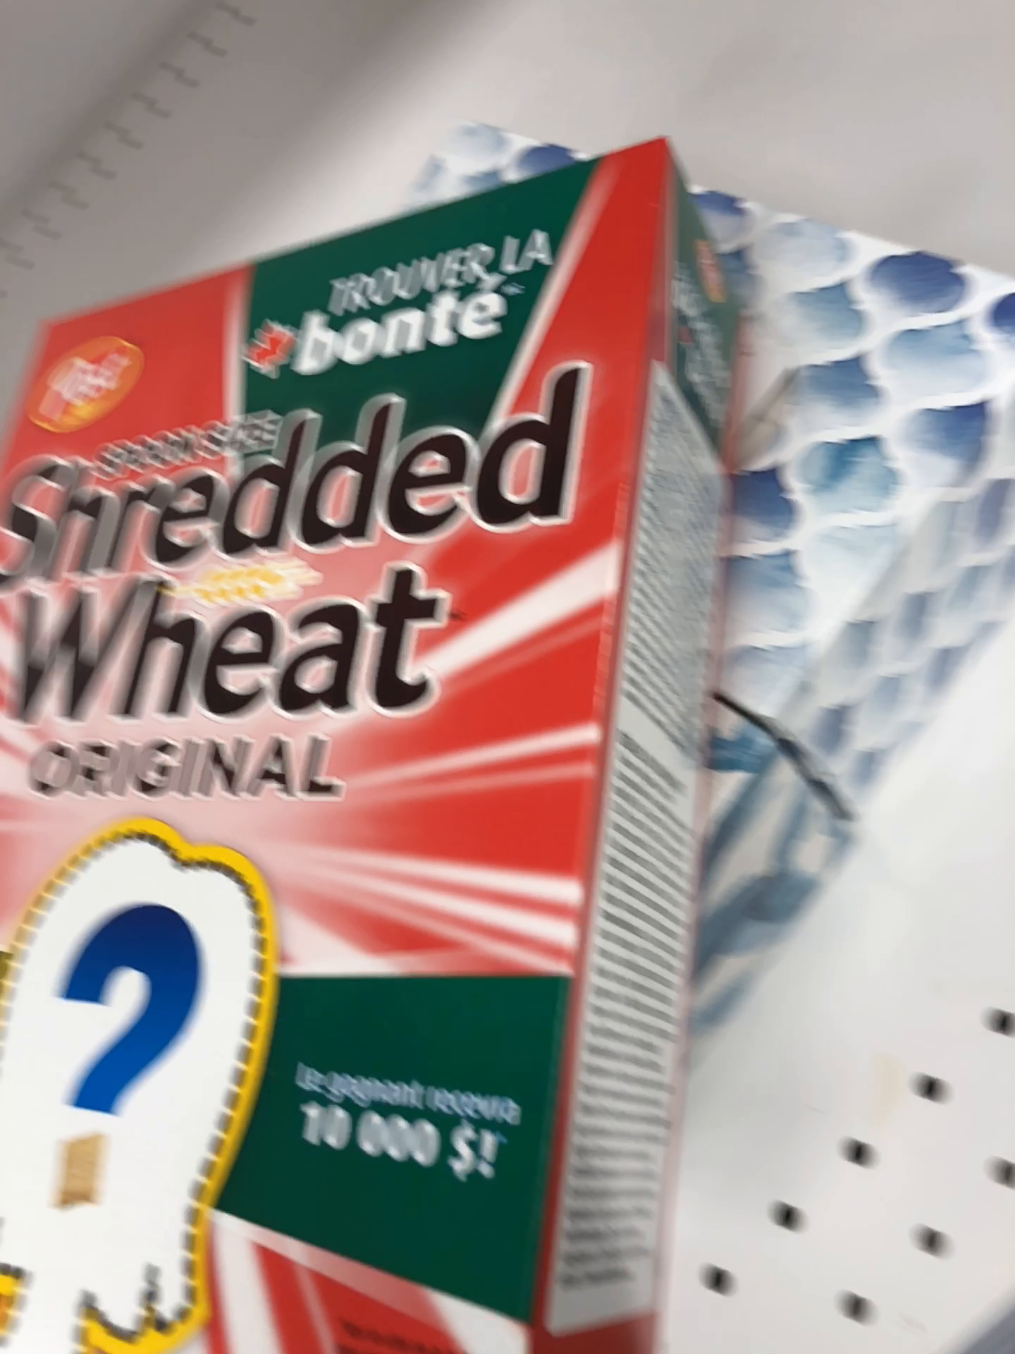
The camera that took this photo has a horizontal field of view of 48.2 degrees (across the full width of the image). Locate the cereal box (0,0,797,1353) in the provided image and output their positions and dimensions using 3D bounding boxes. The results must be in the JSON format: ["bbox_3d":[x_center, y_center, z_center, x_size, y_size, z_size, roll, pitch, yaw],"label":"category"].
[{"bbox_3d":[-0.063,0.010,0.262,0.230,0.060,0.280,-4,66,31],"label":"cereal box"}]
